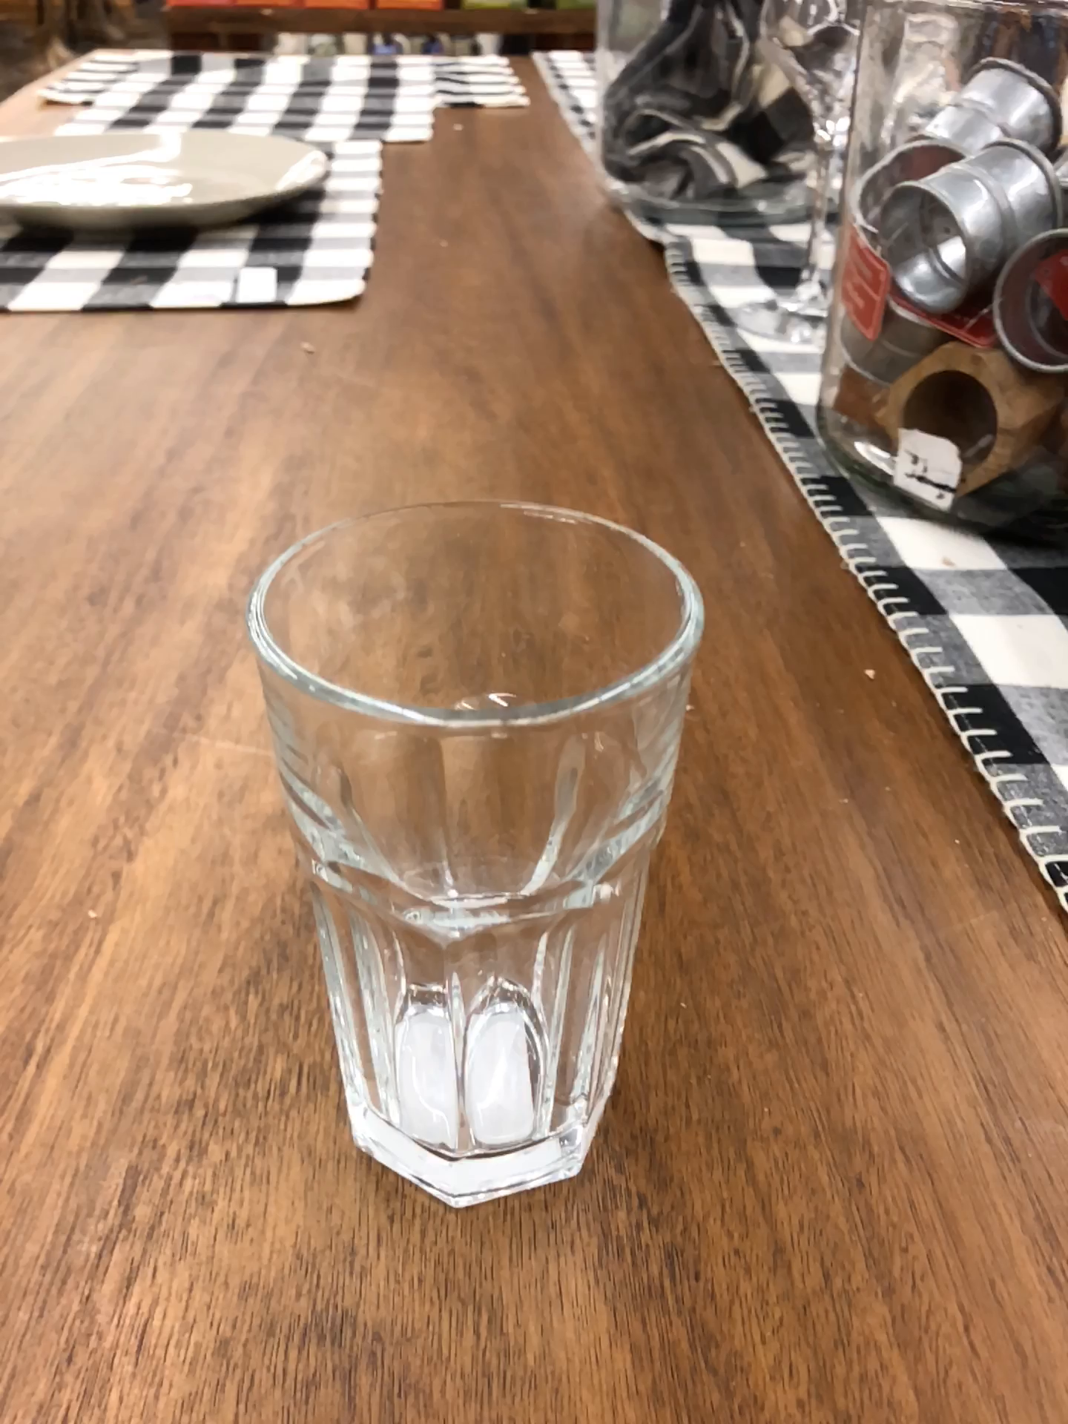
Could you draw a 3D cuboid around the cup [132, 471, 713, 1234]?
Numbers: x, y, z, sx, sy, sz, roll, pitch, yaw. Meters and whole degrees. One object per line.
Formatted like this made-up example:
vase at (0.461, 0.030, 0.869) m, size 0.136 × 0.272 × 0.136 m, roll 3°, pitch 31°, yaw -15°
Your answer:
cup at (-0.010, 0.021, 0.197) m, size 0.070 × 0.095 × 0.072 m, roll 1°, pitch 34°, yaw -1°
